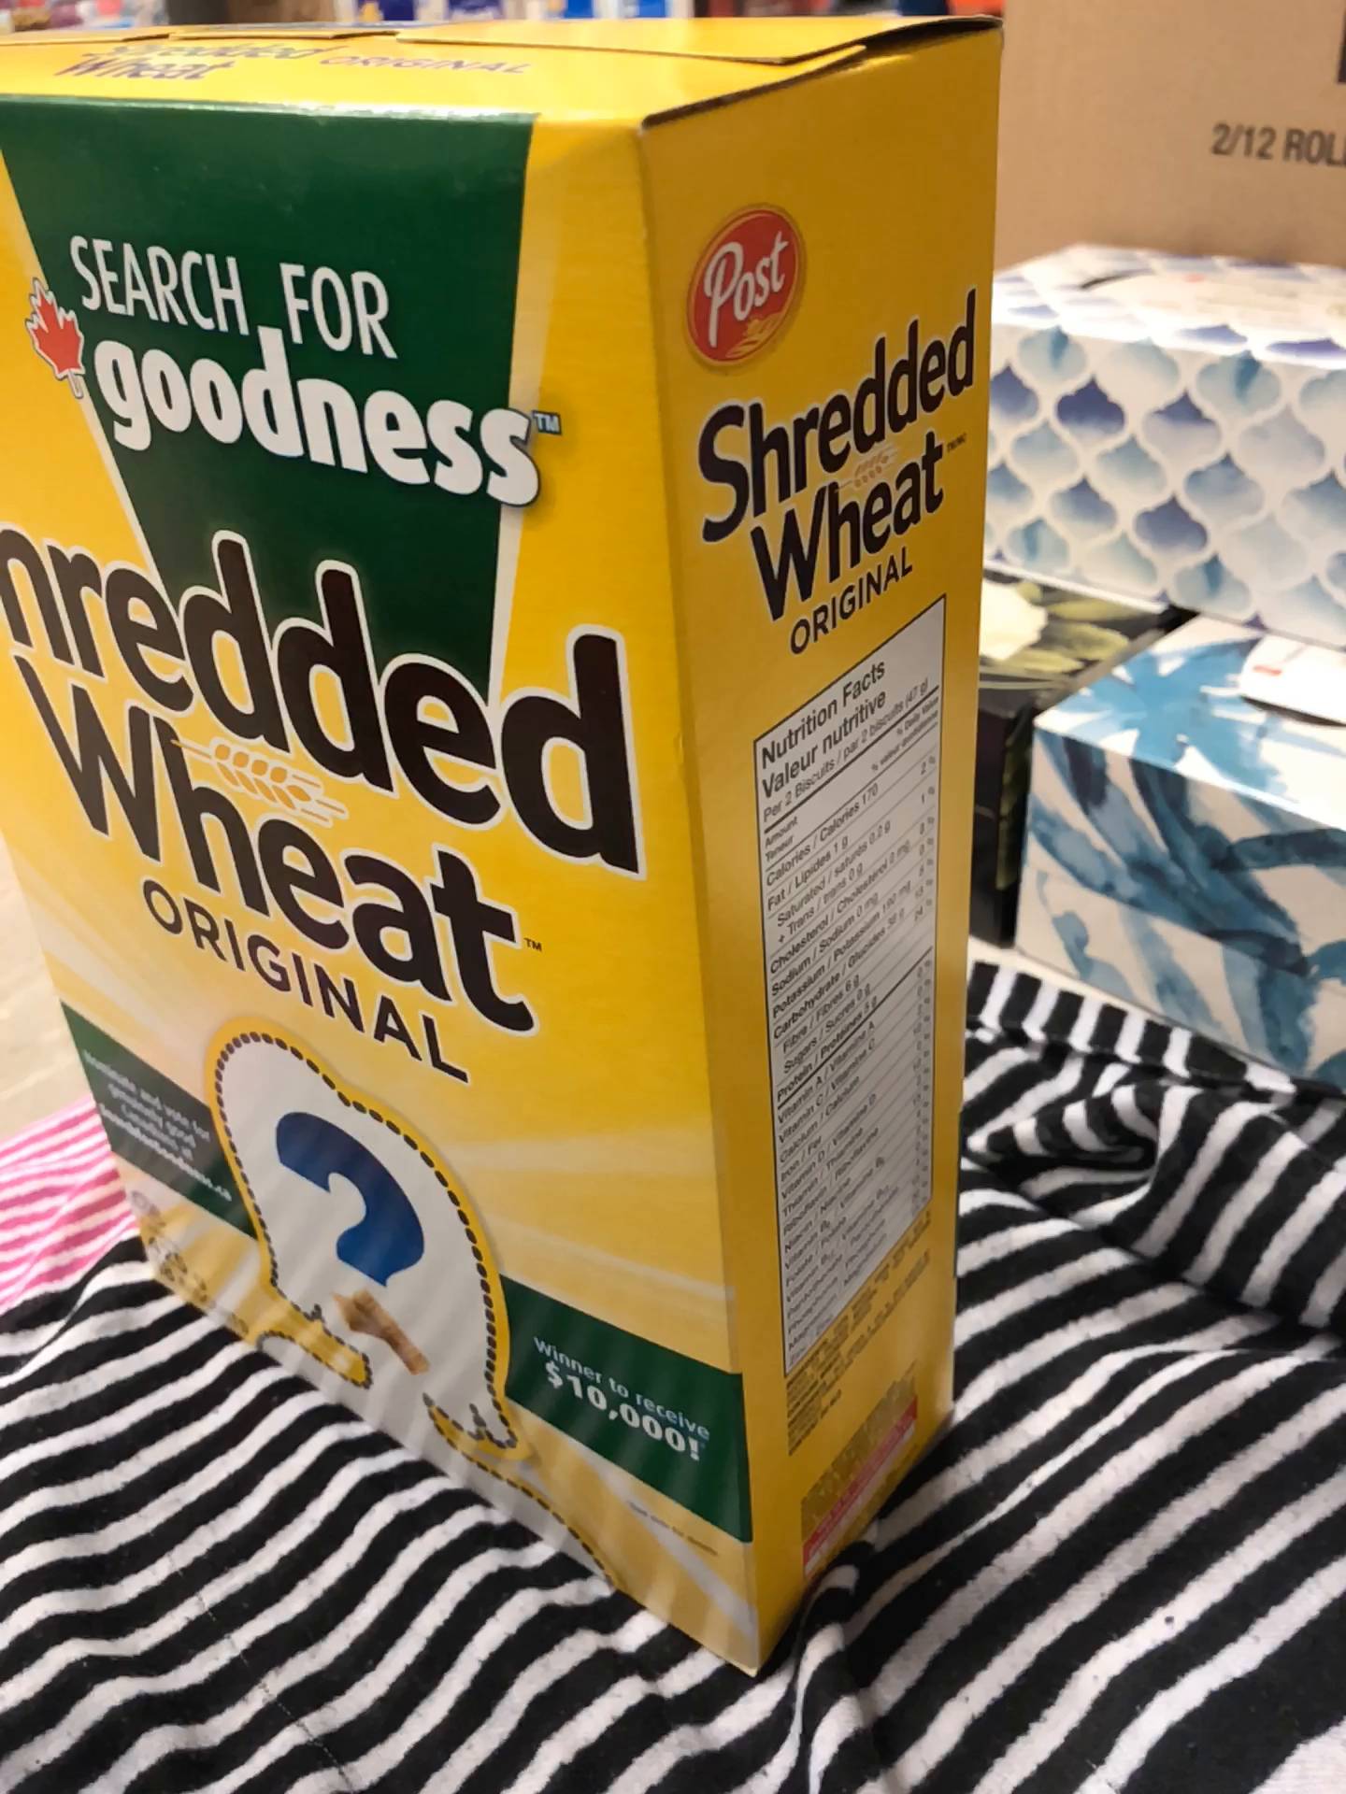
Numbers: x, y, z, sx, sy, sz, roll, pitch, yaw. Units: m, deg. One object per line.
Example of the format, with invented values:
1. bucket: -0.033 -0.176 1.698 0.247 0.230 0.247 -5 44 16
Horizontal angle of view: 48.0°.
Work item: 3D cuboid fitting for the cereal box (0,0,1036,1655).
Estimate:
1. cereal box: -0.056 -0.021 0.287 0.211 0.269 0.080 19 40 31
